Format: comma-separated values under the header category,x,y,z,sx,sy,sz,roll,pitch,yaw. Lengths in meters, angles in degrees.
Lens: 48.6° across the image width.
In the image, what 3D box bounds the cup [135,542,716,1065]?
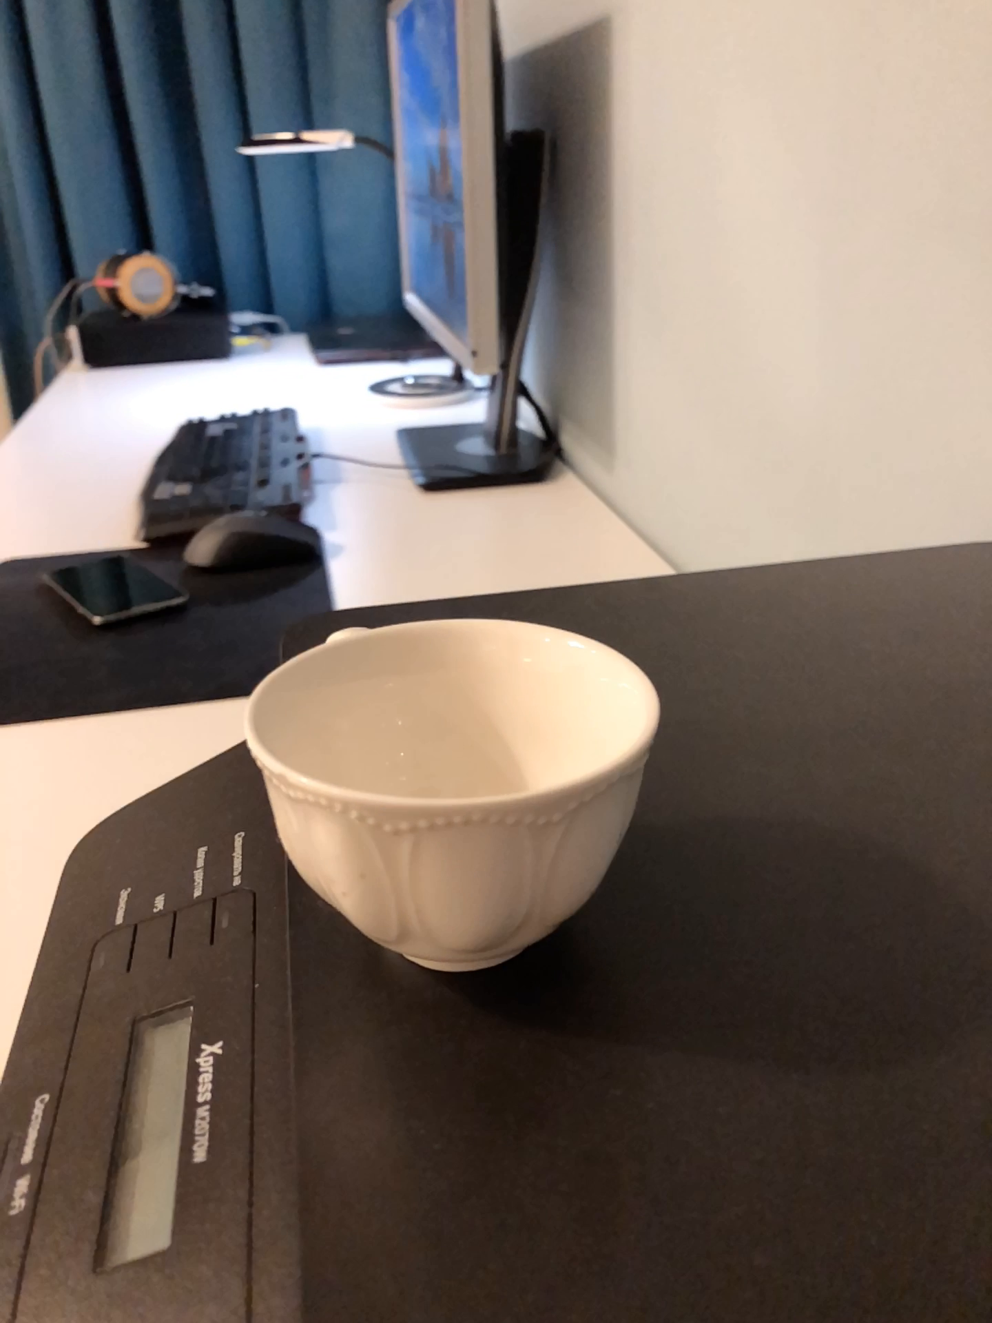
category,x,y,z,sx,sy,sz,roll,pitch,yaw
cup,-0.018,0.018,0.220,0.076,0.044,0.094,-16,30,-27
